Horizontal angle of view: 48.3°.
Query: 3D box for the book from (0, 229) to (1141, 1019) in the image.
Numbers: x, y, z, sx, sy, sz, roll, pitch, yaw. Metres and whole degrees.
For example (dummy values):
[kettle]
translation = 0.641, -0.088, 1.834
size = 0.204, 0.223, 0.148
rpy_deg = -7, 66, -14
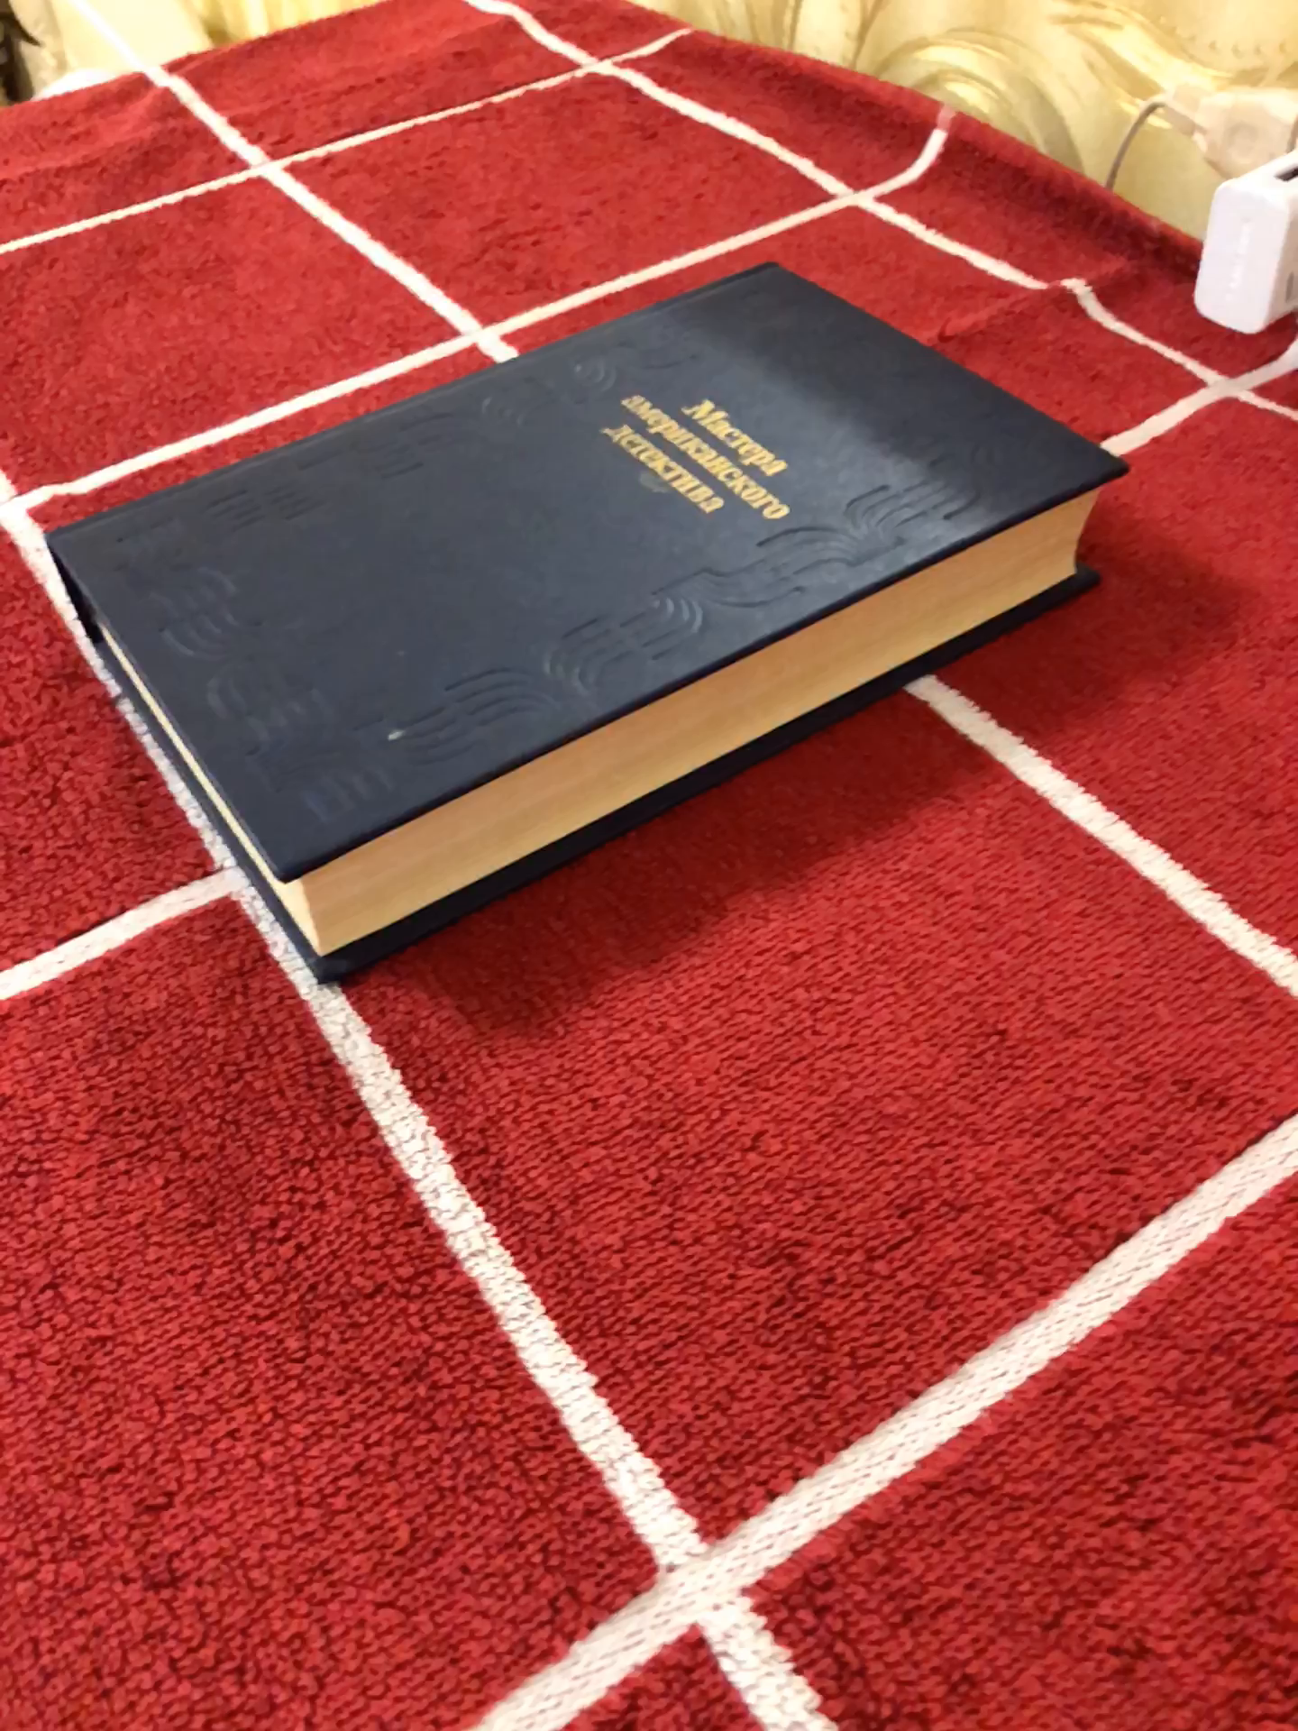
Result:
[book]
translation = -0.020, -0.069, 0.311
size = 0.193, 0.030, 0.143
rpy_deg = -29, 52, -20
